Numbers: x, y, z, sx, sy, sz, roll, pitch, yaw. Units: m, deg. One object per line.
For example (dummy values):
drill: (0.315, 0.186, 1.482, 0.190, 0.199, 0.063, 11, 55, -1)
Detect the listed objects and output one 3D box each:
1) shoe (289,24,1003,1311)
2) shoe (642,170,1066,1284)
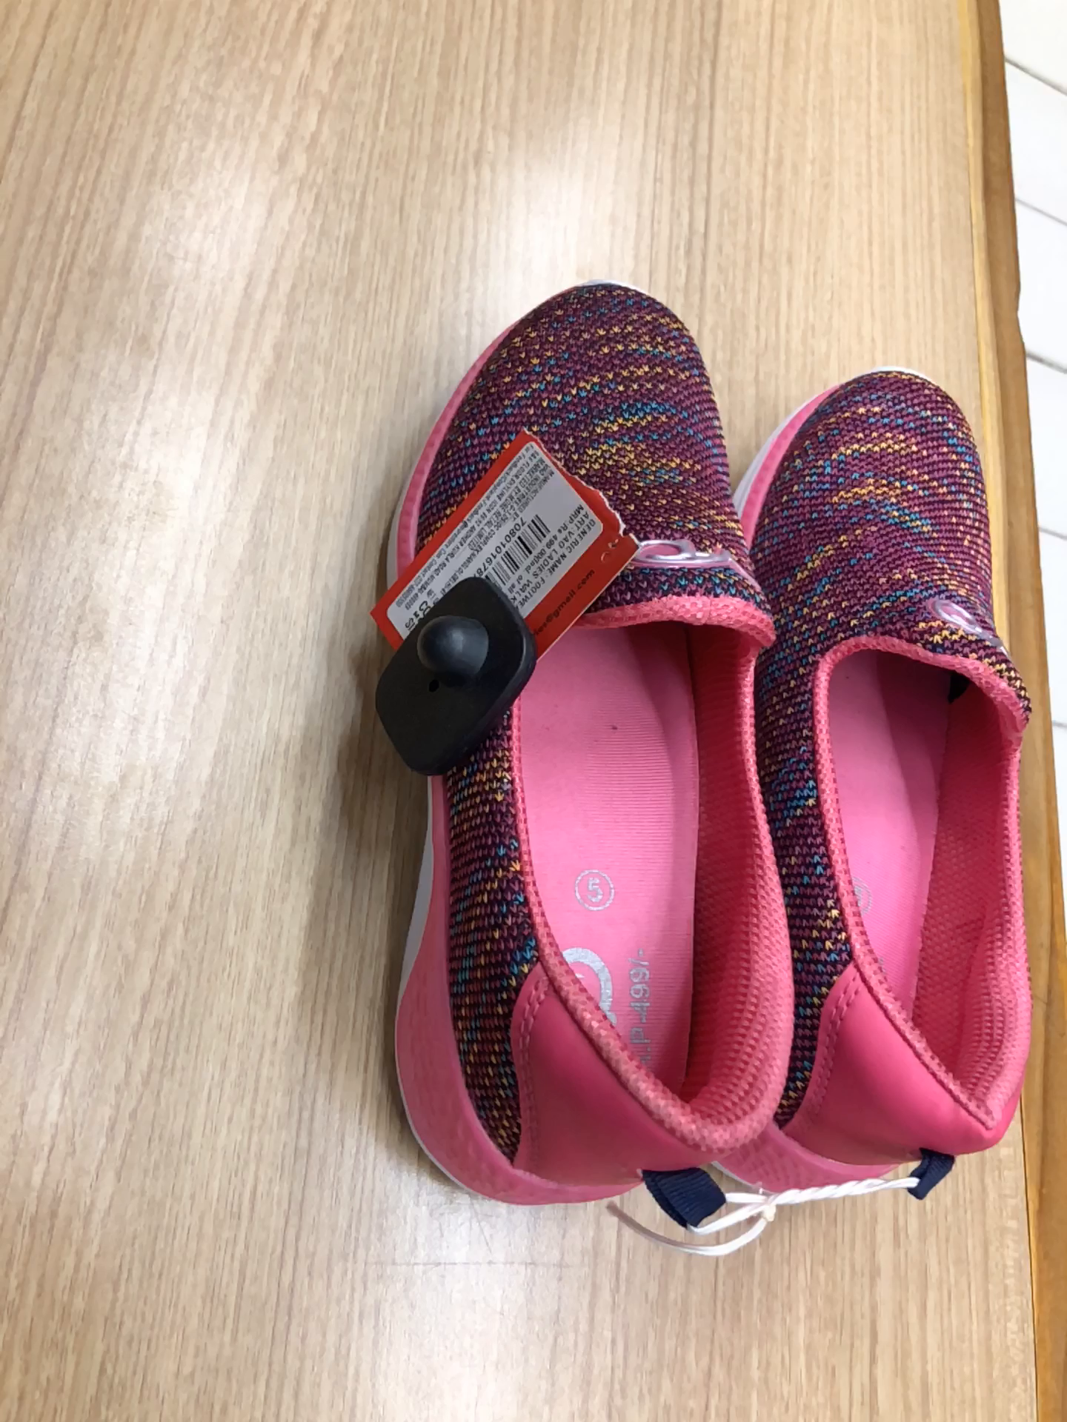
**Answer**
shoe: (0.019, -0.007, 0.275, 0.105, 0.103, 0.244, 10, 70, -22)
shoe: (0.112, 0.006, 0.314, 0.105, 0.103, 0.244, 16, 68, -20)
